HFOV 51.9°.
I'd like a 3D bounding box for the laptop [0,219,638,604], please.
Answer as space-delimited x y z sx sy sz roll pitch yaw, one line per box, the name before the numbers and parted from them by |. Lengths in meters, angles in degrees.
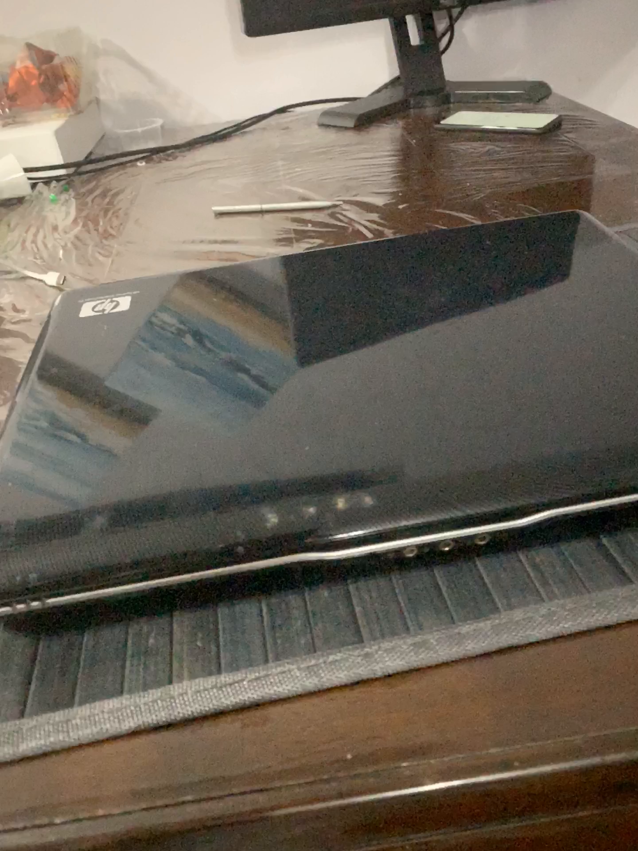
laptop | 0.023 -0.038 0.332 0.339 0.009 0.232 -9 38 -6
